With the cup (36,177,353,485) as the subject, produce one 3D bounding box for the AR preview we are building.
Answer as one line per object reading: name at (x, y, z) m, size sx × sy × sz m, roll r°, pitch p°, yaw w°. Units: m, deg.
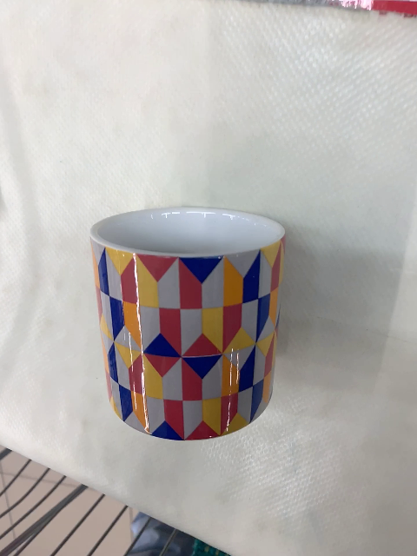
cup at (-0.010, 0.007, 0.187) m, size 0.100 × 0.080 × 0.080 m, roll 24°, pitch 122°, yaw 44°
